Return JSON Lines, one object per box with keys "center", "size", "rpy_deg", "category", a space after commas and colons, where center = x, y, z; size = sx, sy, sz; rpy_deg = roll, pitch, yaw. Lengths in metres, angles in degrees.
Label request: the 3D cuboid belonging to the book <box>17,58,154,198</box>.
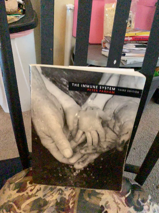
{"center": [0.002, 0.051, 0.327], "size": [0.220, 0.269, 0.040], "rpy_deg": [4, 19, 4], "category": "book"}
